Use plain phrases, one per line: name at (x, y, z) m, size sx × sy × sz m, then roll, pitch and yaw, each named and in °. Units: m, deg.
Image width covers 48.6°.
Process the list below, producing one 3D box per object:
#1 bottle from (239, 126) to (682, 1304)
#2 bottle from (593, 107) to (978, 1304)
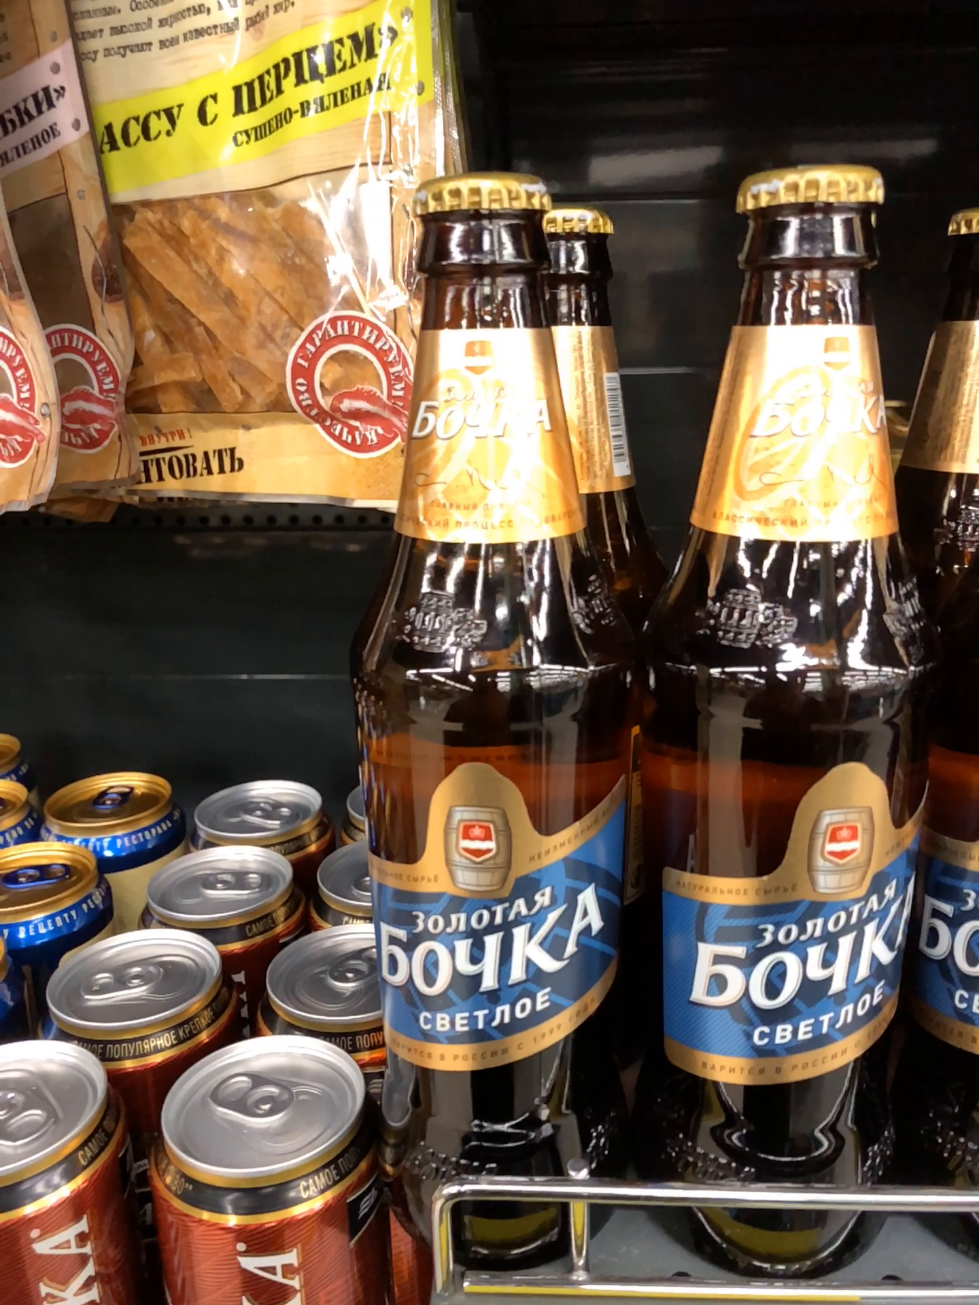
bottle at (0.003, 0.018, 0.242) m, size 0.070 × 0.234 × 0.070 m, roll -1°, pitch 17°, yaw 0°
bottle at (0.064, 0.018, 0.232) m, size 0.070 × 0.234 × 0.060 m, roll -5°, pitch 17°, yaw -10°
